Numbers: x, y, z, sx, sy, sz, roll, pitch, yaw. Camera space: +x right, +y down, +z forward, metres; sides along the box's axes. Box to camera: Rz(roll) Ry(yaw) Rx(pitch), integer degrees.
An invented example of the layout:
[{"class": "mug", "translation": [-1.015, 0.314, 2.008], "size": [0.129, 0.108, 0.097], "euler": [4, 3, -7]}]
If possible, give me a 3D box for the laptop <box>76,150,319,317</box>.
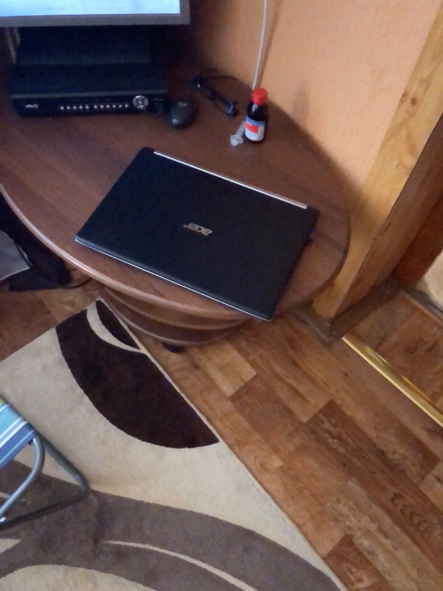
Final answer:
[{"class": "laptop", "translation": [-0.037, -0.126, 0.877], "size": [0.363, 0.004, 0.240], "euler": [22, 61, 10]}]
